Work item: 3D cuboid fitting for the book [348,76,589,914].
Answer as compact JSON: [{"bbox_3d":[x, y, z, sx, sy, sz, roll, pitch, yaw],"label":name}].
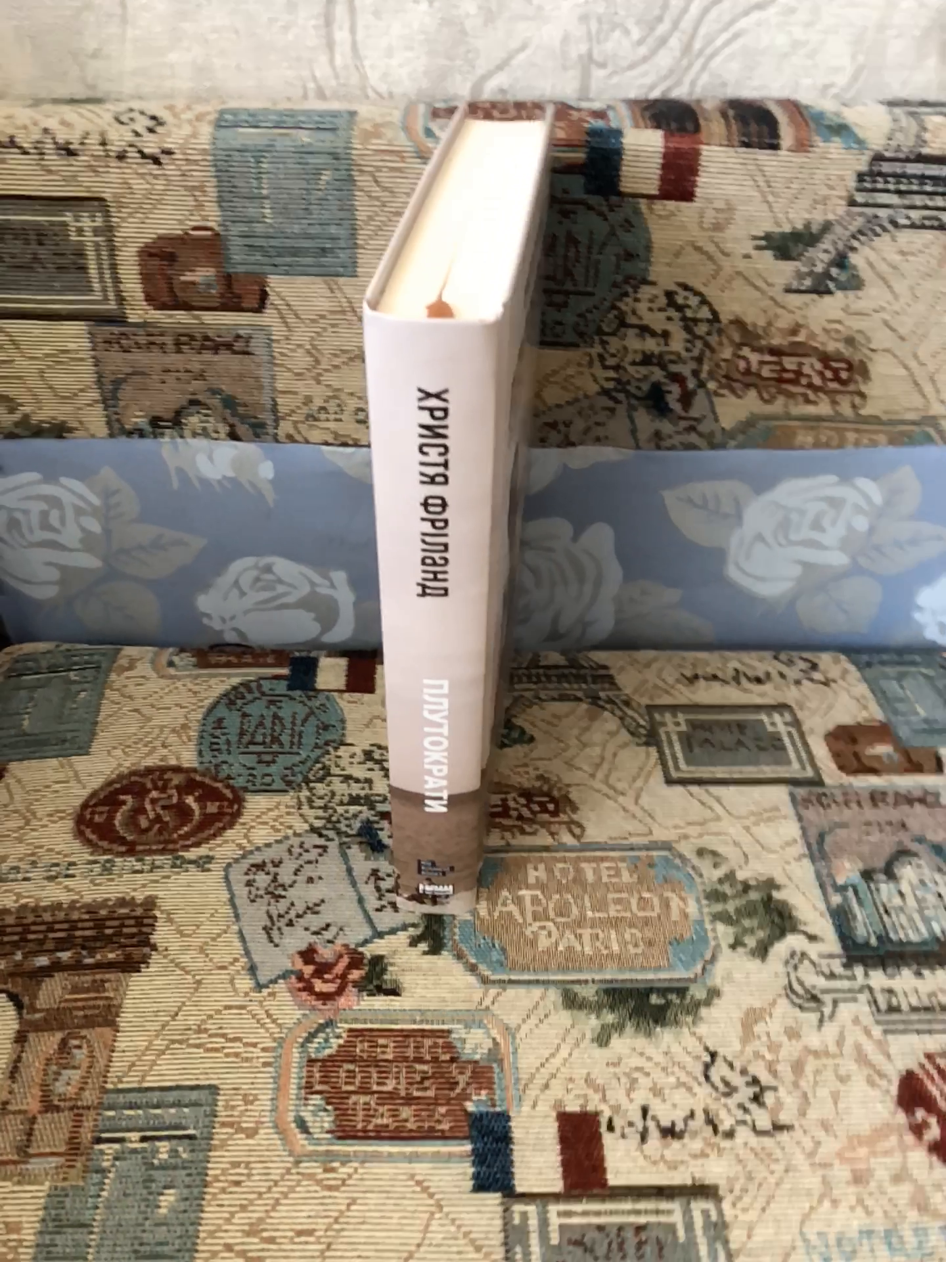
[{"bbox_3d":[0.003,-0.042,0.351,0.040,0.218,0.171,7,42,5],"label":"book"}]
